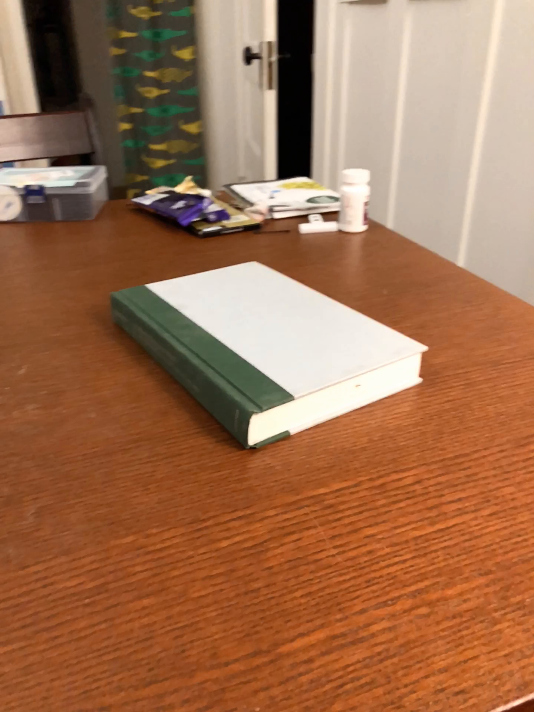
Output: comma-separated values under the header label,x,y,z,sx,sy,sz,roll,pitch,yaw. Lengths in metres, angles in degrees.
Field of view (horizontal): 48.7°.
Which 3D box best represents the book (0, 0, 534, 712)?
label,x,y,z,sx,sy,sz,roll,pitch,yaw
book,0.174,-0.253,0.133,1.002,0.994,1.004,19,34,33
